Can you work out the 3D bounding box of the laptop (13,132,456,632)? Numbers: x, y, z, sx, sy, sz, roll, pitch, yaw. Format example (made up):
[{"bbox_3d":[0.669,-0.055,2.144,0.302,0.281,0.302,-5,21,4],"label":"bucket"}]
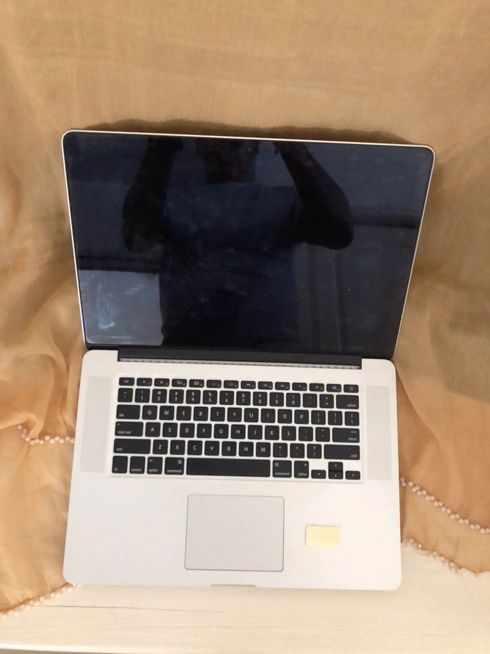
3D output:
[{"bbox_3d":[-0.002,0.041,0.515,0.336,0.135,0.405,2,79,-2],"label":"laptop"}]
